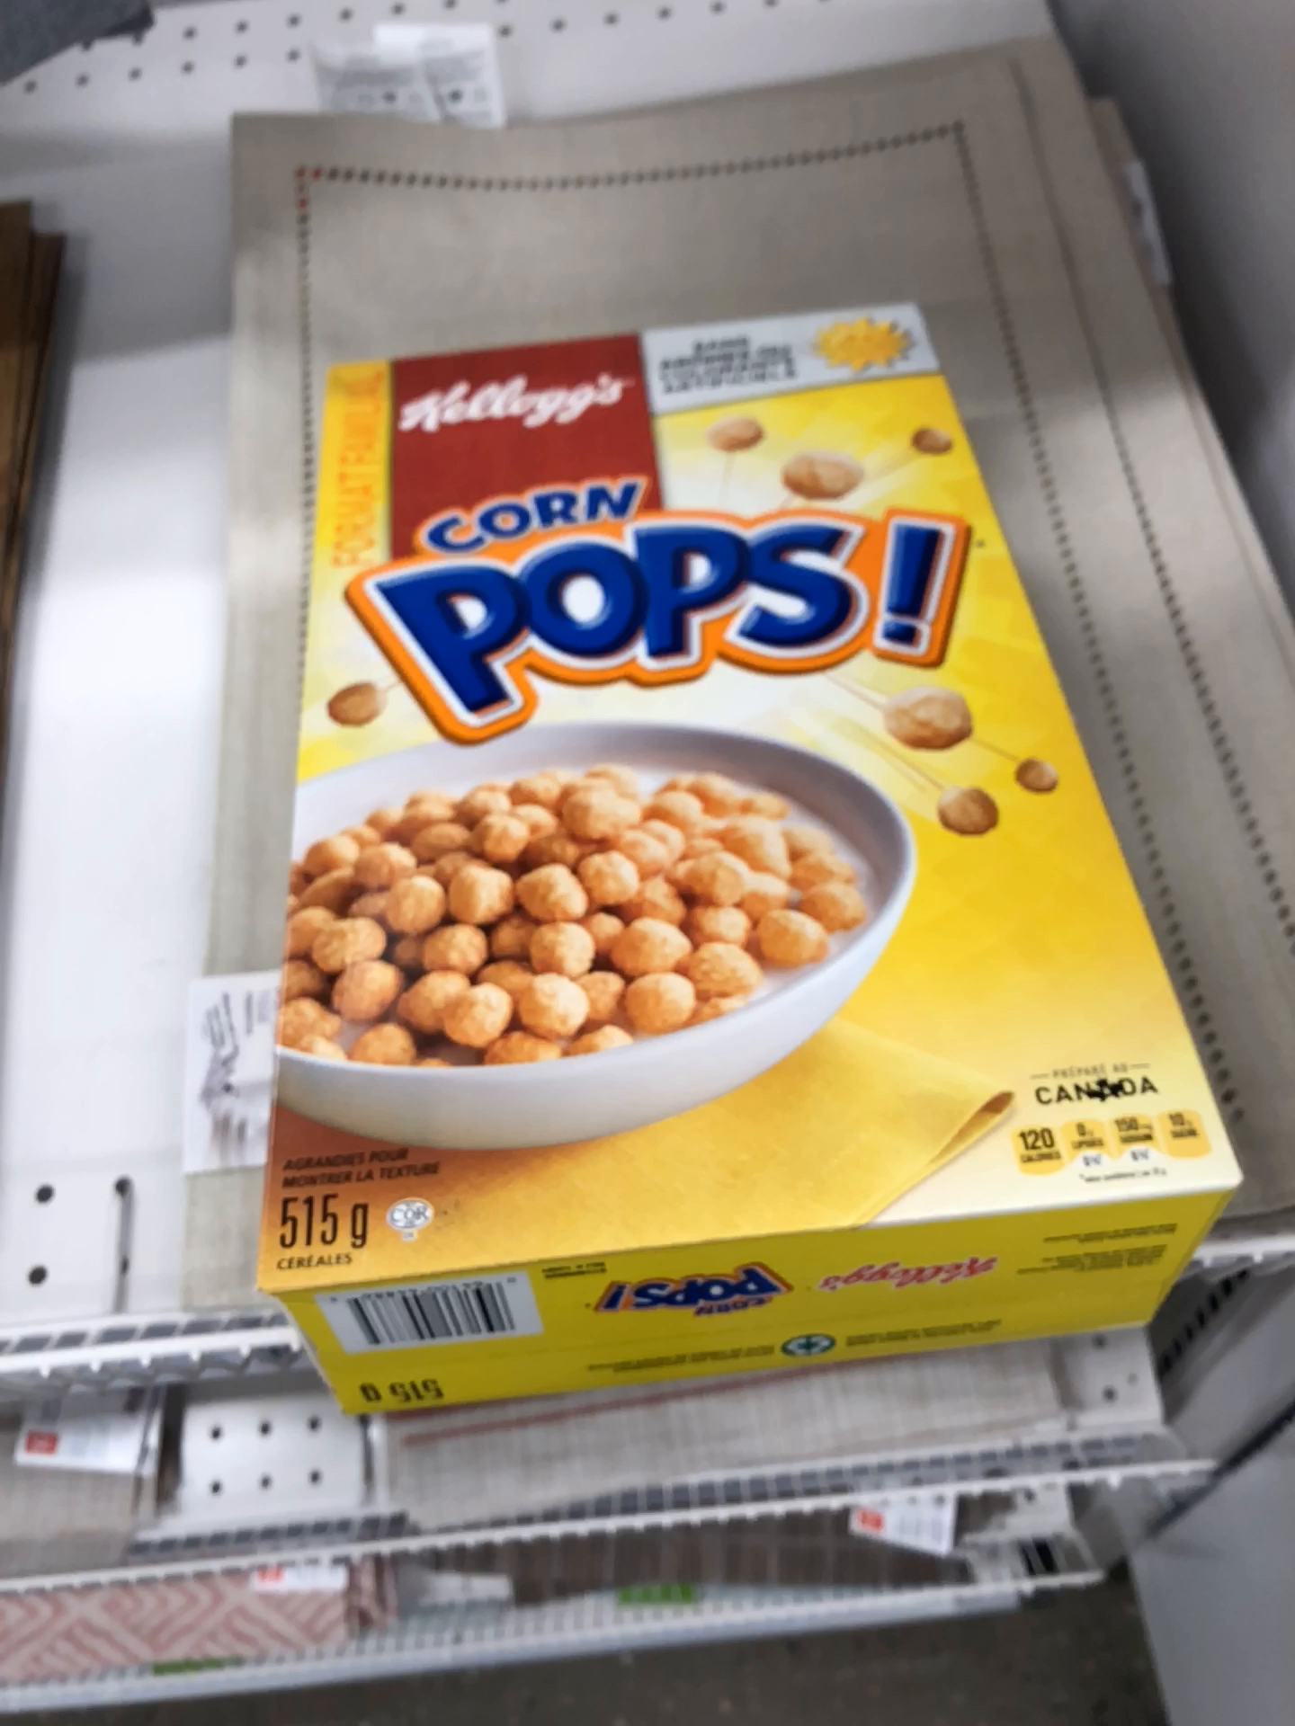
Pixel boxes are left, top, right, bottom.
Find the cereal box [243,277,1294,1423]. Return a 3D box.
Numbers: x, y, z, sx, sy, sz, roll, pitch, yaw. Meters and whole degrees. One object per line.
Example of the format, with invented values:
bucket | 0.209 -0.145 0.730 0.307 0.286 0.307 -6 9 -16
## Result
cereal box | 0.012 -0.035 0.424 0.220 0.080 0.341 -5 53 -4
